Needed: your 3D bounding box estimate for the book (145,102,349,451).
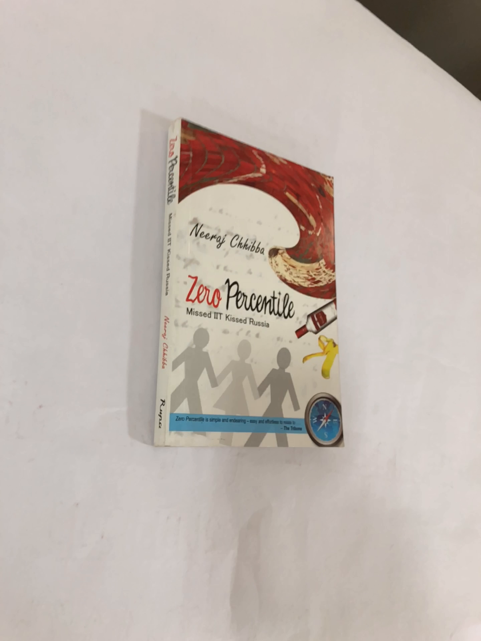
[{"bbox_3d":[0.010,-0.021,0.340,0.132,0.021,0.200,10,73,-34],"label":"book"}]
